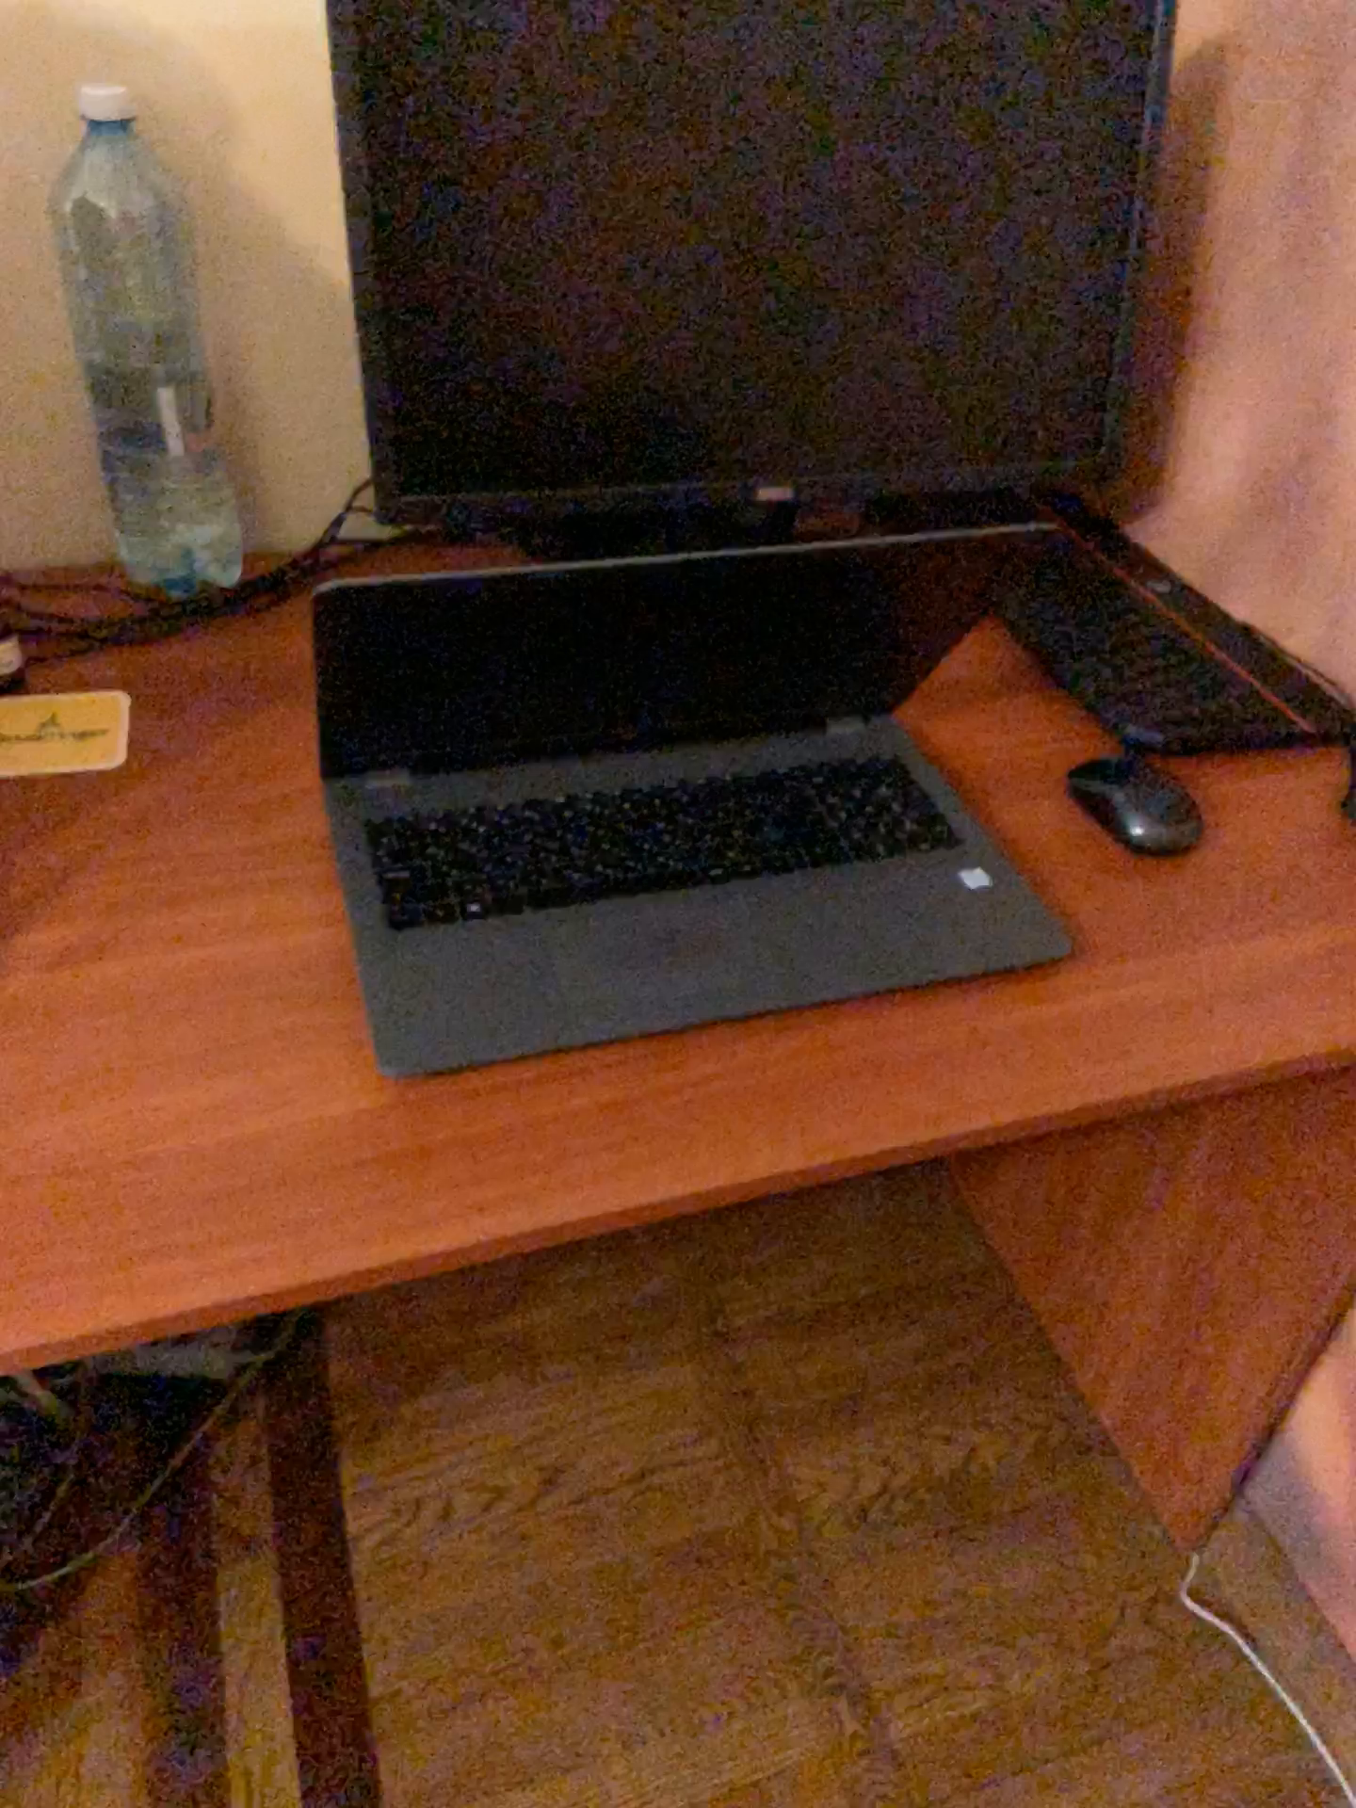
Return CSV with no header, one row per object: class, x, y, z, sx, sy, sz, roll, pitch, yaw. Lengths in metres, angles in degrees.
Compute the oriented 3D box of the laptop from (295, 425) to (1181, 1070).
laptop,0.011,-0.098,0.715,0.360,0.191,0.233,-9,41,-16
